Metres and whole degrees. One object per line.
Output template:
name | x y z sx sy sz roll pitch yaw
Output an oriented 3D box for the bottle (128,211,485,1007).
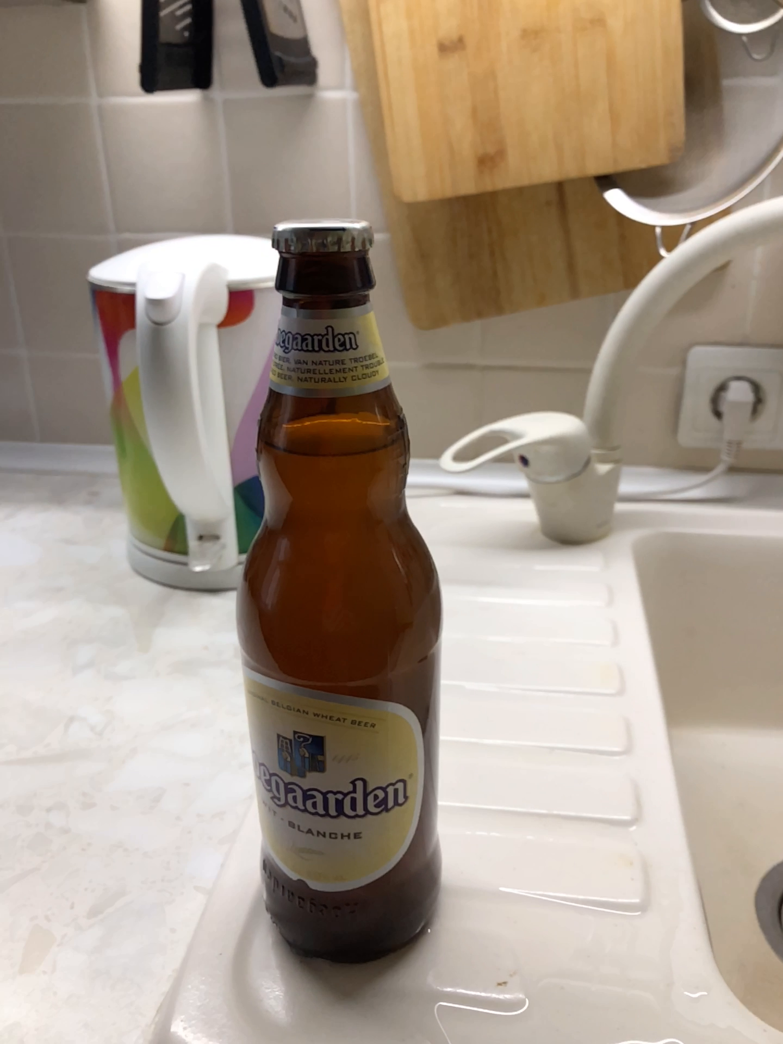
bottle | -0.018 0.029 0.267 0.070 0.231 0.060 10 26 25
